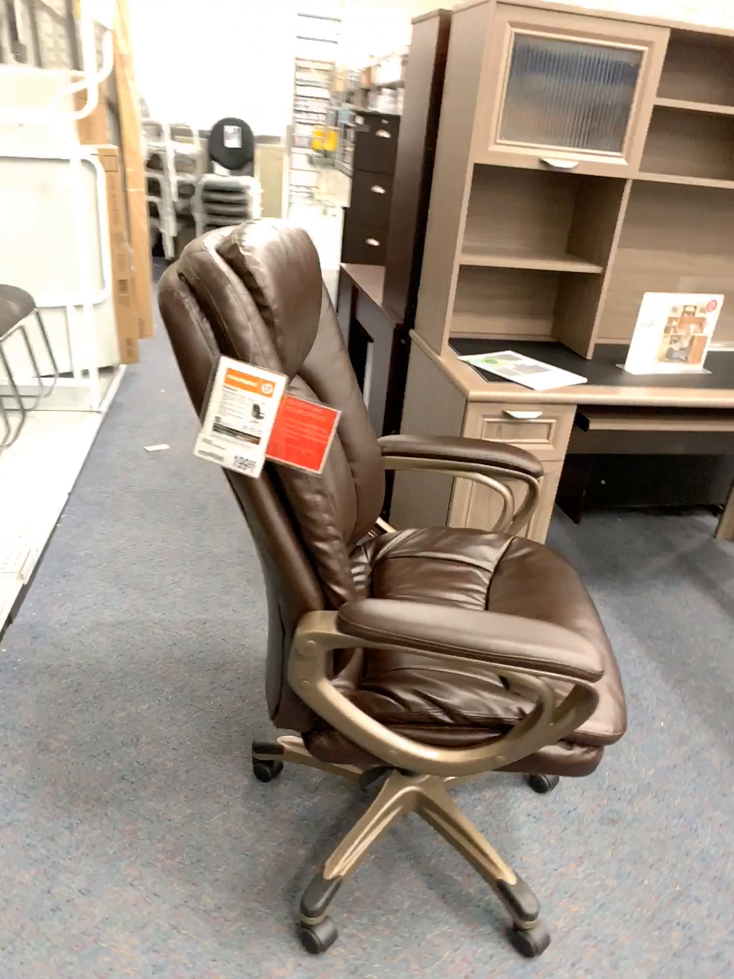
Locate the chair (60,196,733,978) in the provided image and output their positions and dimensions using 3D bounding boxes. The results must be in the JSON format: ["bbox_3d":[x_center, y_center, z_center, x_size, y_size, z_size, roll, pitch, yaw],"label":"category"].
[{"bbox_3d":[0.074,0.148,1.318,0.811,1.112,0.728,8,26,4],"label":"chair"}]
